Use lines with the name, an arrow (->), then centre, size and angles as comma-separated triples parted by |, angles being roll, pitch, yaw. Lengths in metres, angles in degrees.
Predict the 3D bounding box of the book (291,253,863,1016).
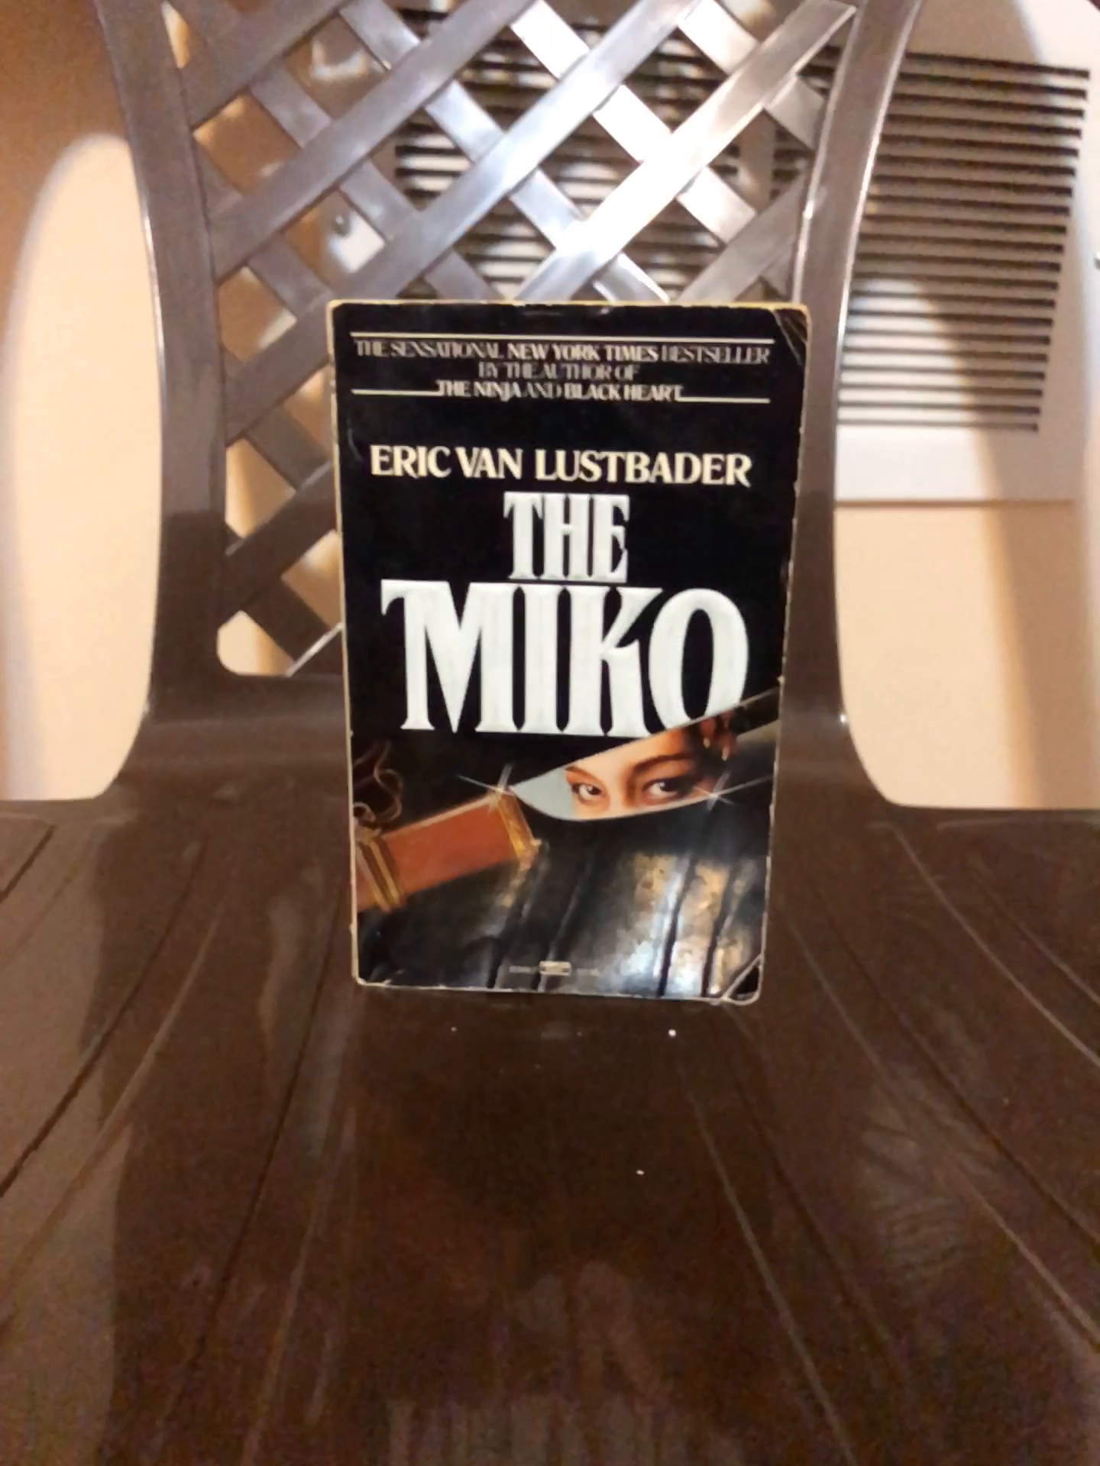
book -> 0.003, -0.021, 0.297 | 0.120, 0.170, 0.040 | 2, 13, 1
